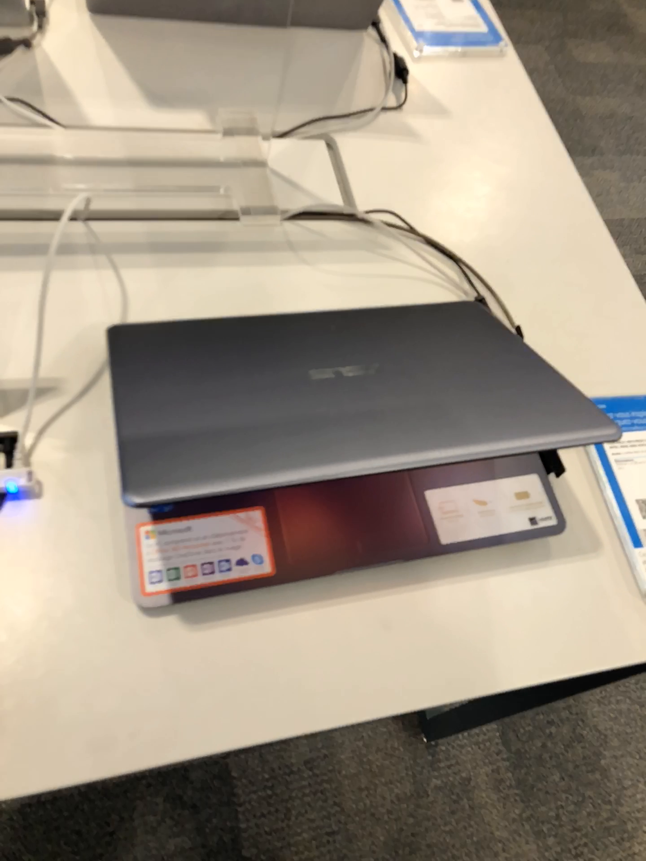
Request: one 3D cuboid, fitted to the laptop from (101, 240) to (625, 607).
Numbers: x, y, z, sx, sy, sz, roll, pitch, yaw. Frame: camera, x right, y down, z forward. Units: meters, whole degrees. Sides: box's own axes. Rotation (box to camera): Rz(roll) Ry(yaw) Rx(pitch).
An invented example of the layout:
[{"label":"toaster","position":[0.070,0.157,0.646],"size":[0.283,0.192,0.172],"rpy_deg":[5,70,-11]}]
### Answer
[{"label":"laptop","position":[0.016,-0.017,0.487],"size":[0.300,0.099,0.201],"rpy_deg":[-7,63,-17]}]
